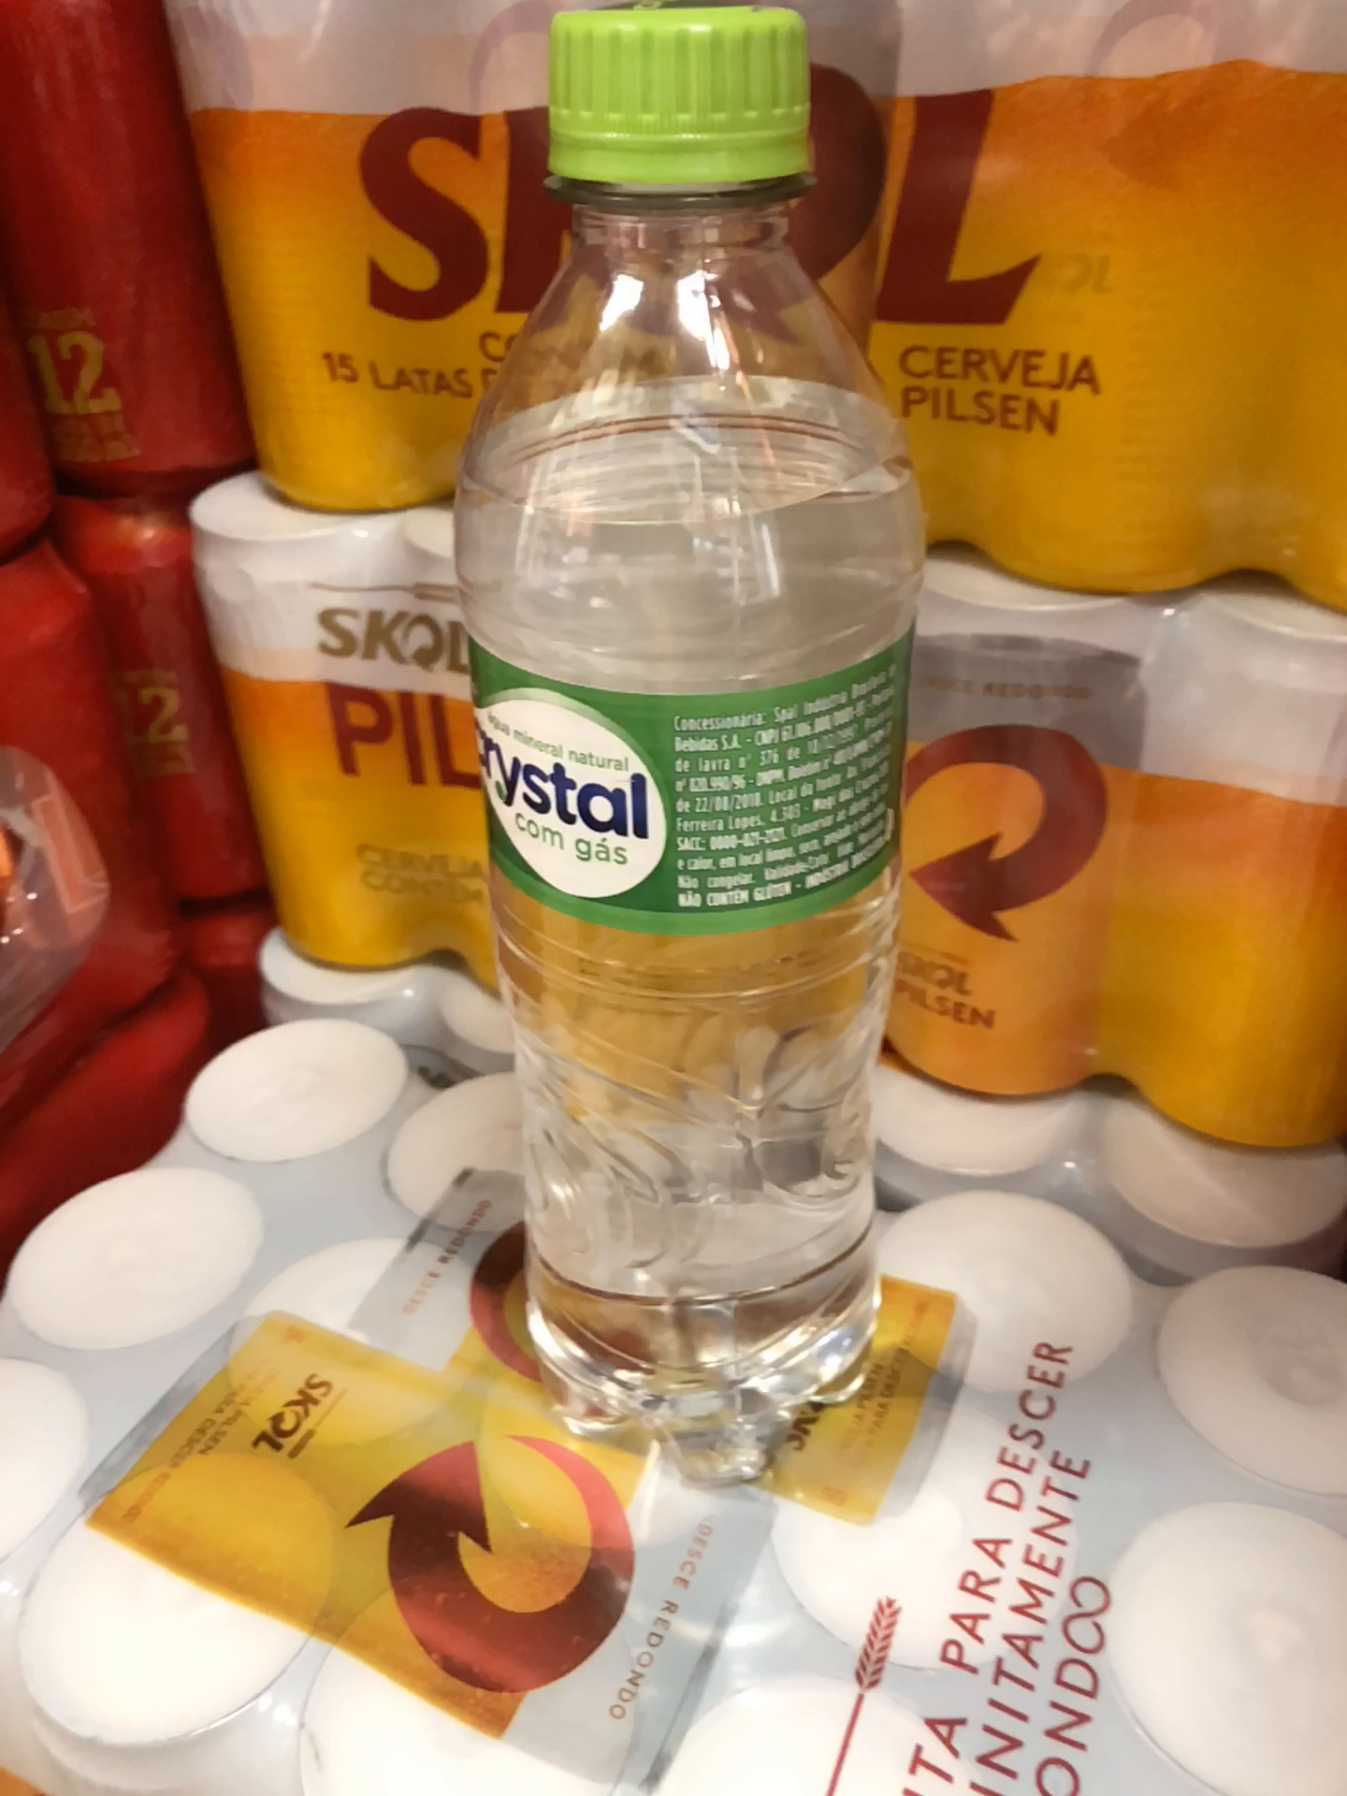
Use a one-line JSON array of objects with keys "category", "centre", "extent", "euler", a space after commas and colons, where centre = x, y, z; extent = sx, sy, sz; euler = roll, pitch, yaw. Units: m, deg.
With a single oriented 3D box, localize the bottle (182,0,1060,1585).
[{"category": "bottle", "centre": [0.002, -0.005, 0.219], "extent": [0.070, 0.218, 0.060], "euler": [25, 45, 36]}]
